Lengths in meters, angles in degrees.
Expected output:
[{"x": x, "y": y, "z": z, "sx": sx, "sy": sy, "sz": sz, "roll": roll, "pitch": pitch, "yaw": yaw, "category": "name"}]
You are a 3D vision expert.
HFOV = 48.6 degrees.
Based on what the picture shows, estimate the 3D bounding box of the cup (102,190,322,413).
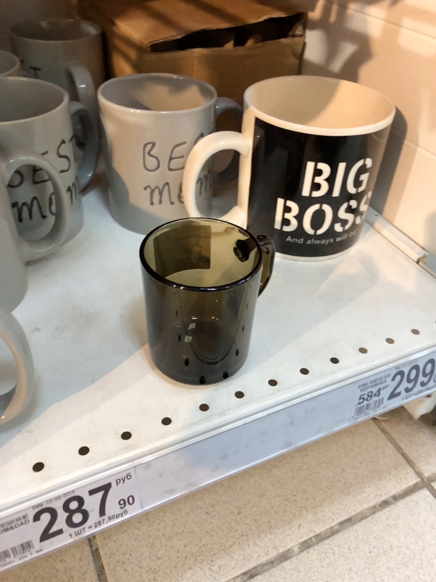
[{"x": -0.003, "y": 0.000, "z": 0.310, "sx": 0.082, "sy": 0.074, "sz": 0.105, "roll": 31, "pitch": 46, "yaw": 29, "category": "cup"}]
